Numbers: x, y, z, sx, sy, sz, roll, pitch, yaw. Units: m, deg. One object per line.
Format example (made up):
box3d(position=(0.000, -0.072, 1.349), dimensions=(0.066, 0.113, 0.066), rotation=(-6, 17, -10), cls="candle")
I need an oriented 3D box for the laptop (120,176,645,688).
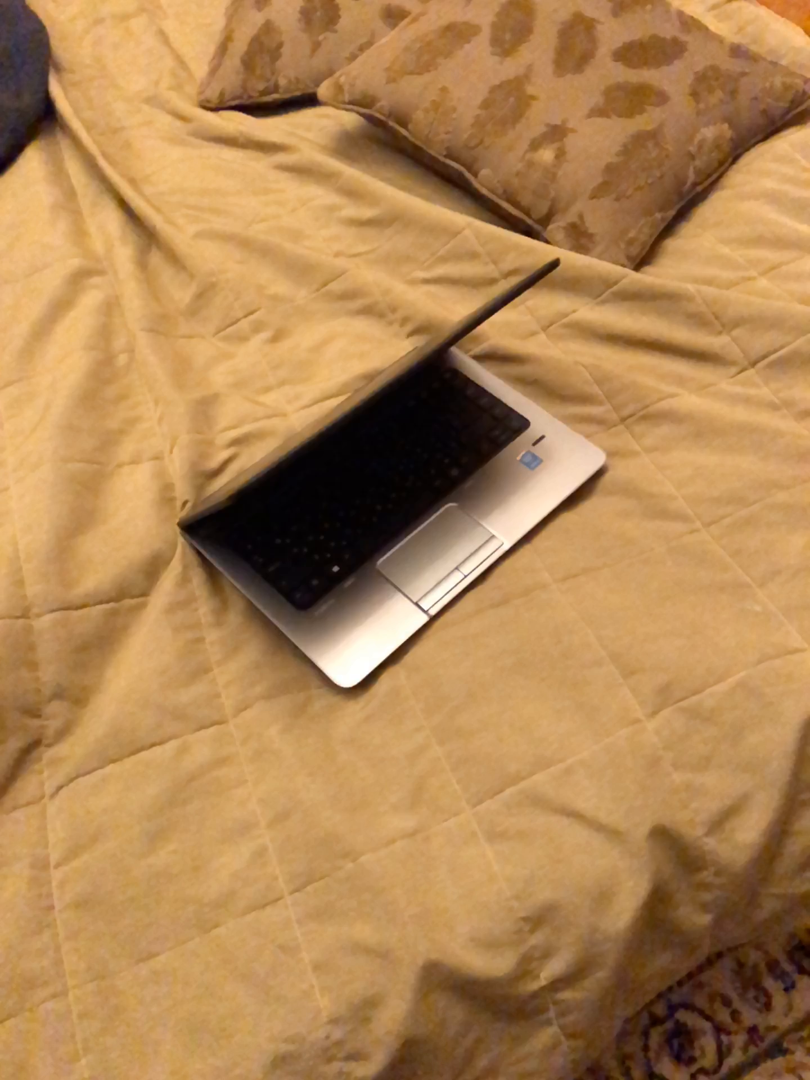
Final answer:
box3d(position=(-0.010, -0.100, 0.741), dimensions=(0.332, 0.189, 0.225), rotation=(-40, 63, -23), cls="laptop")
